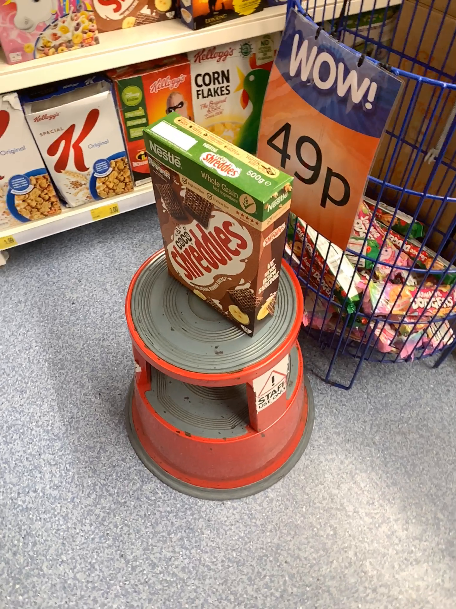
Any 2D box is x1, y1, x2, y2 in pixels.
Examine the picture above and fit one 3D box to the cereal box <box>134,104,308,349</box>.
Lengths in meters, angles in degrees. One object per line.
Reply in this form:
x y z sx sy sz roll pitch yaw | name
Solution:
-0.013 -0.091 0.632 0.201 0.278 0.070 37 62 23 | cereal box
